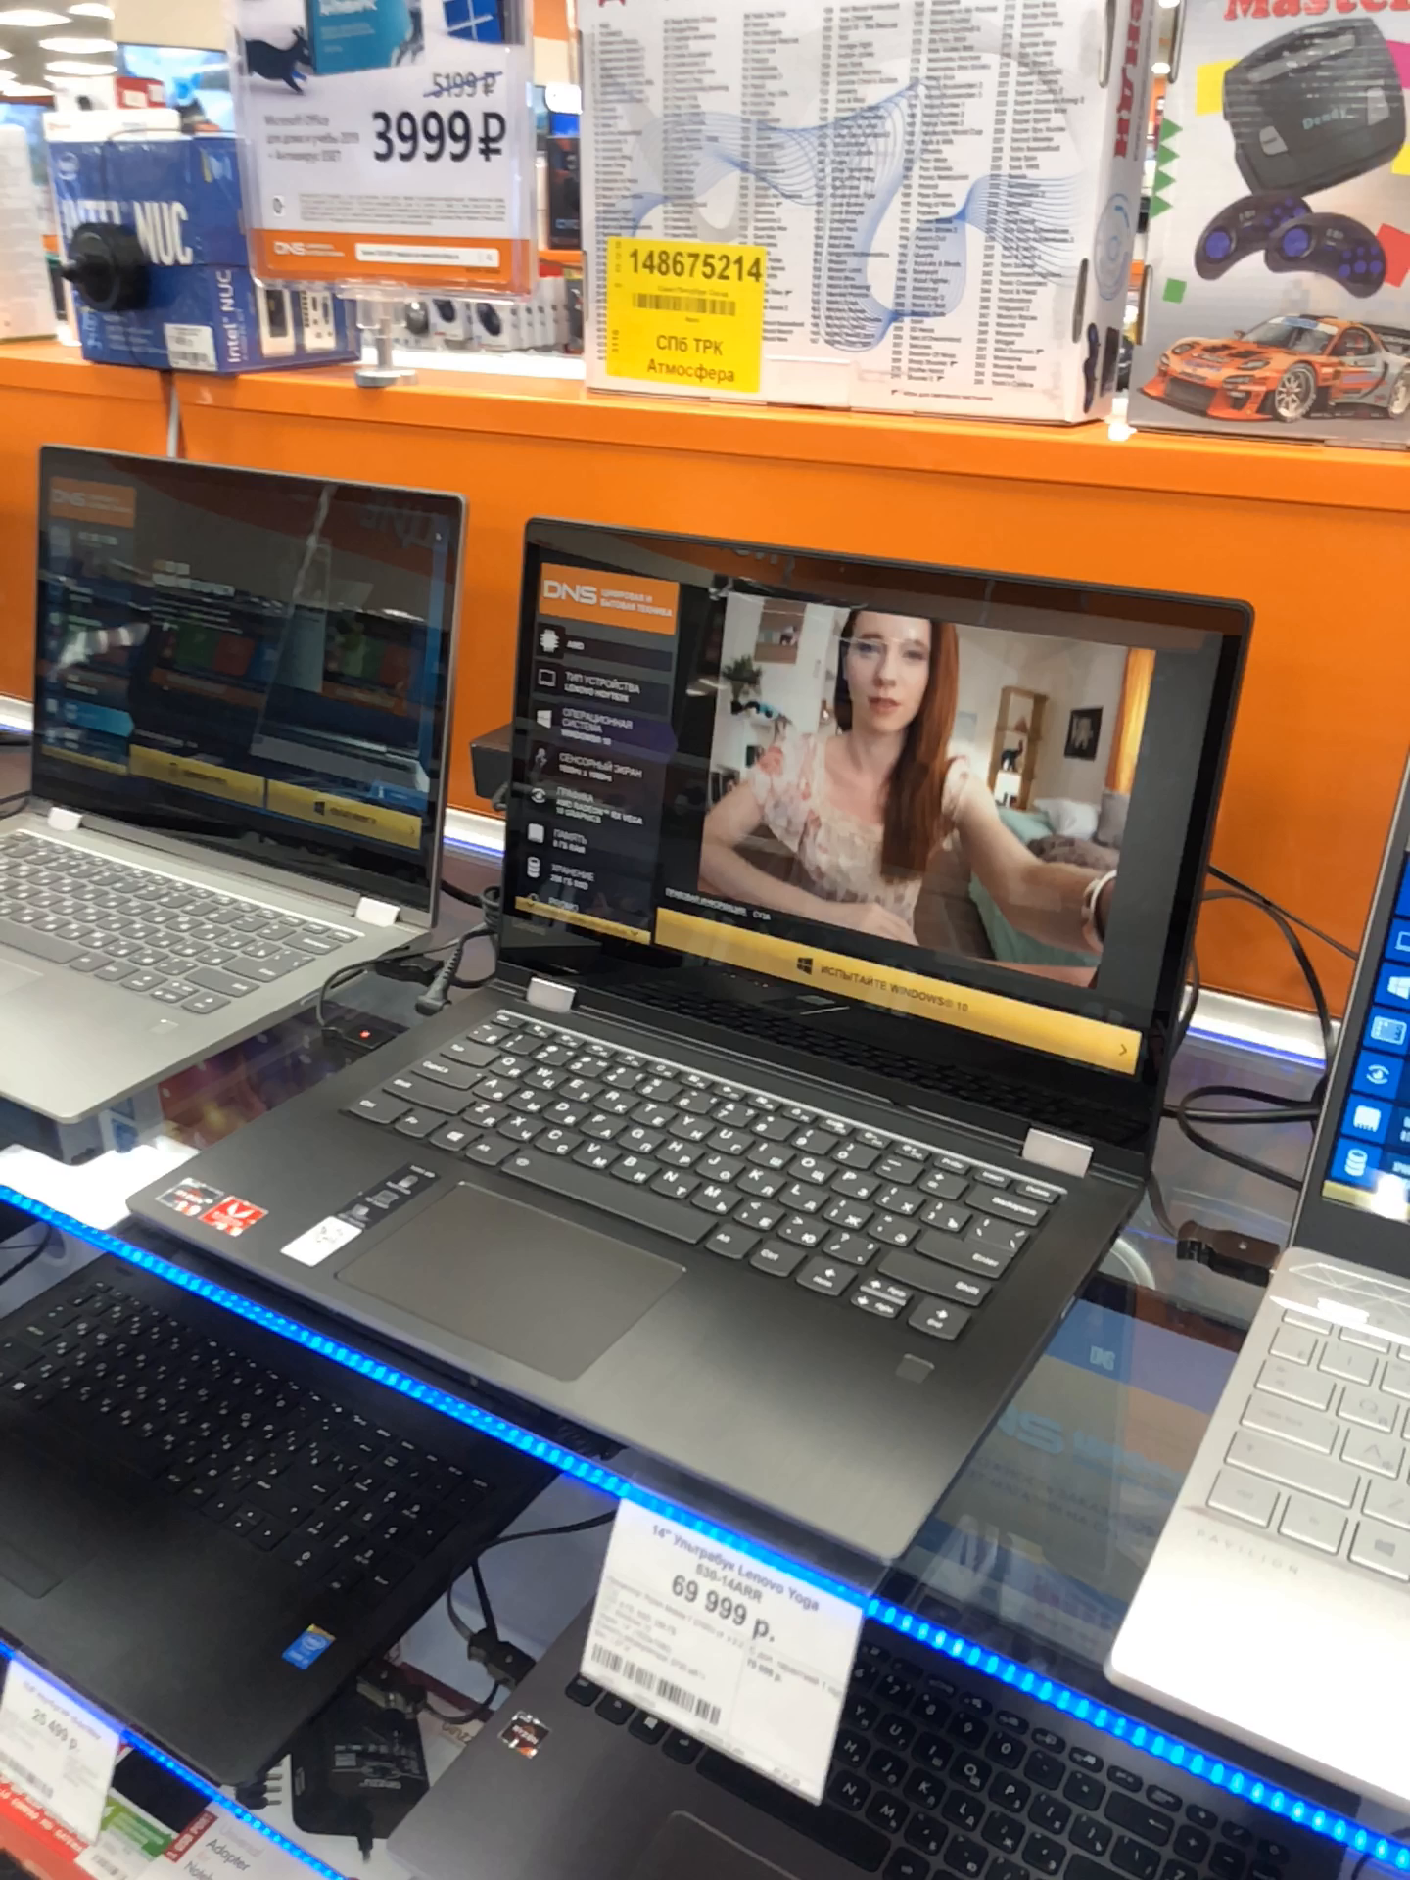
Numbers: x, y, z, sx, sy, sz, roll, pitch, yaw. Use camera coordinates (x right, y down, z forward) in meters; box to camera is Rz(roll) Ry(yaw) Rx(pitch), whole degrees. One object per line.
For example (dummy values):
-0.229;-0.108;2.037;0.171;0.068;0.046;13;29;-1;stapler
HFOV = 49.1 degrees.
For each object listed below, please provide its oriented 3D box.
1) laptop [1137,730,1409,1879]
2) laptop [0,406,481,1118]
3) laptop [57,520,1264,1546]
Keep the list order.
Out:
0.332;0.089;0.409;0.316;0.161;0.311;14;30;29;laptop
-0.316;-0.119;0.774;0.284;0.202;0.287;15;31;24;laptop
-0.006;-0.009;0.567;0.320;0.215;0.256;15;29;29;laptop
